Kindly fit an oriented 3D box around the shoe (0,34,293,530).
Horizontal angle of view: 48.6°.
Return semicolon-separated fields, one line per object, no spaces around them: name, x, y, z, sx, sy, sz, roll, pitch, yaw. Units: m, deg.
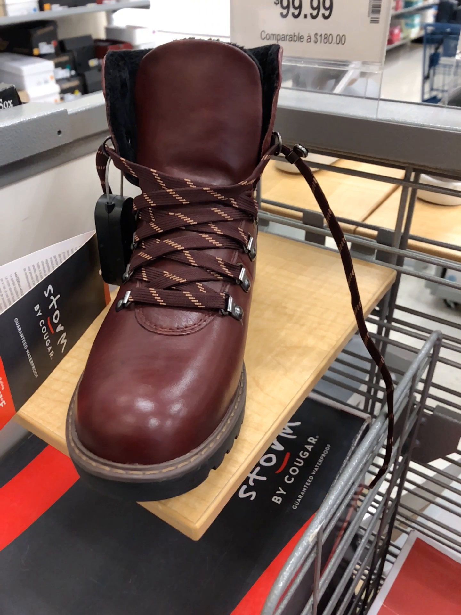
shoe;-0.030;-0.040;0.281;0.107;0.169;0.232;4;35;8
